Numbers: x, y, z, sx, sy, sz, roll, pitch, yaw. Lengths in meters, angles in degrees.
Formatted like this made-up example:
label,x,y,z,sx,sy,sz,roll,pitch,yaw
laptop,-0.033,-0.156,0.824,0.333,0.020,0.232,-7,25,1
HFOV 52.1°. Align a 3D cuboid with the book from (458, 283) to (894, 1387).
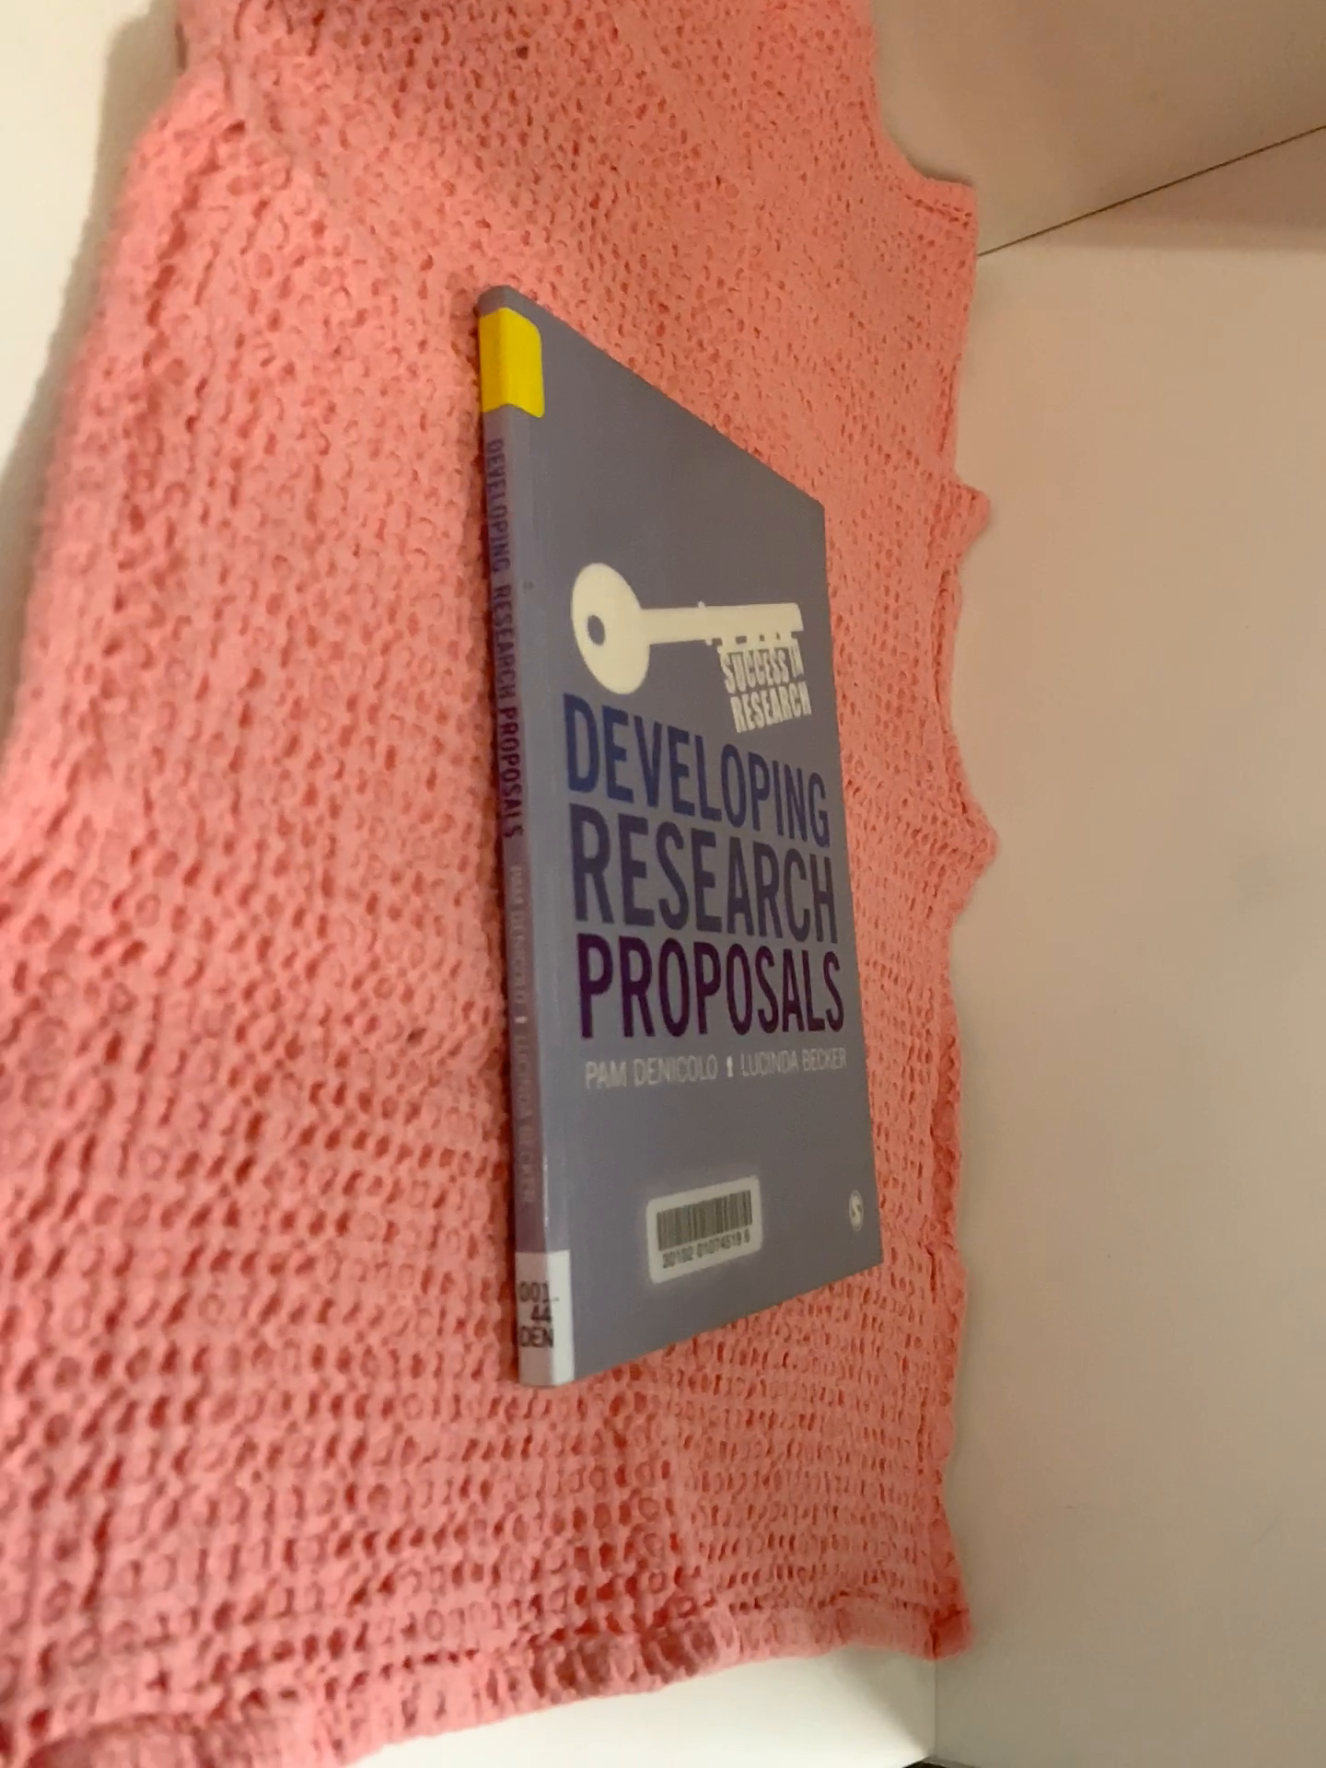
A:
label,x,y,z,sx,sy,sz,roll,pitch,yaw
book,0.011,-0.008,0.351,0.166,0.015,0.230,11,73,-57
